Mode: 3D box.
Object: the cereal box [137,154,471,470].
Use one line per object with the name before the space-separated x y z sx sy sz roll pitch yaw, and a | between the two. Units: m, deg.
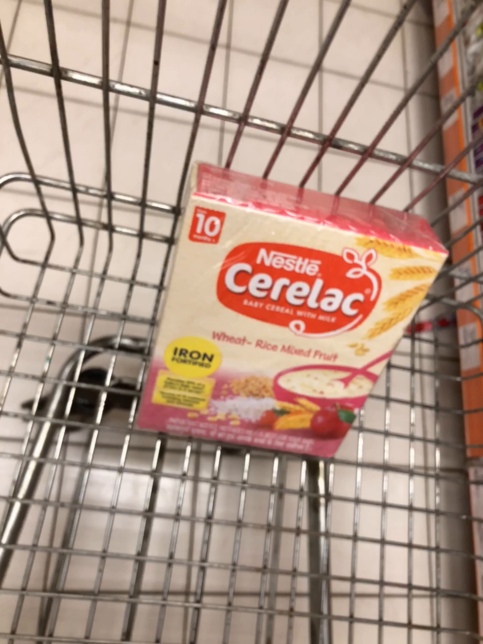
cereal box | 0.025 0.006 0.351 0.150 0.179 0.060 10 36 -12
